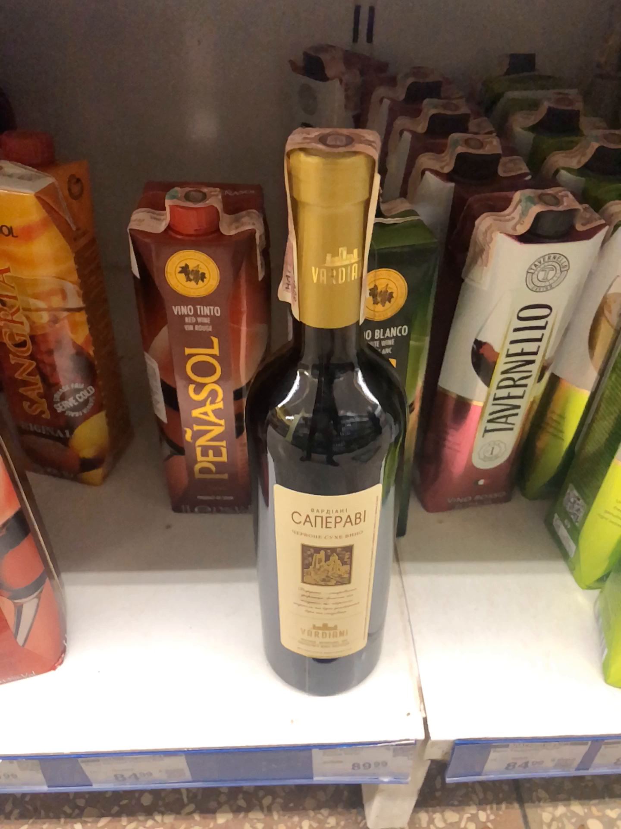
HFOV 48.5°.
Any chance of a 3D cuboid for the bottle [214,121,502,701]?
[{"bbox_3d":[0.008,0.027,0.309,0.080,0.281,0.070,1,41,-2],"label":"bottle"}]
